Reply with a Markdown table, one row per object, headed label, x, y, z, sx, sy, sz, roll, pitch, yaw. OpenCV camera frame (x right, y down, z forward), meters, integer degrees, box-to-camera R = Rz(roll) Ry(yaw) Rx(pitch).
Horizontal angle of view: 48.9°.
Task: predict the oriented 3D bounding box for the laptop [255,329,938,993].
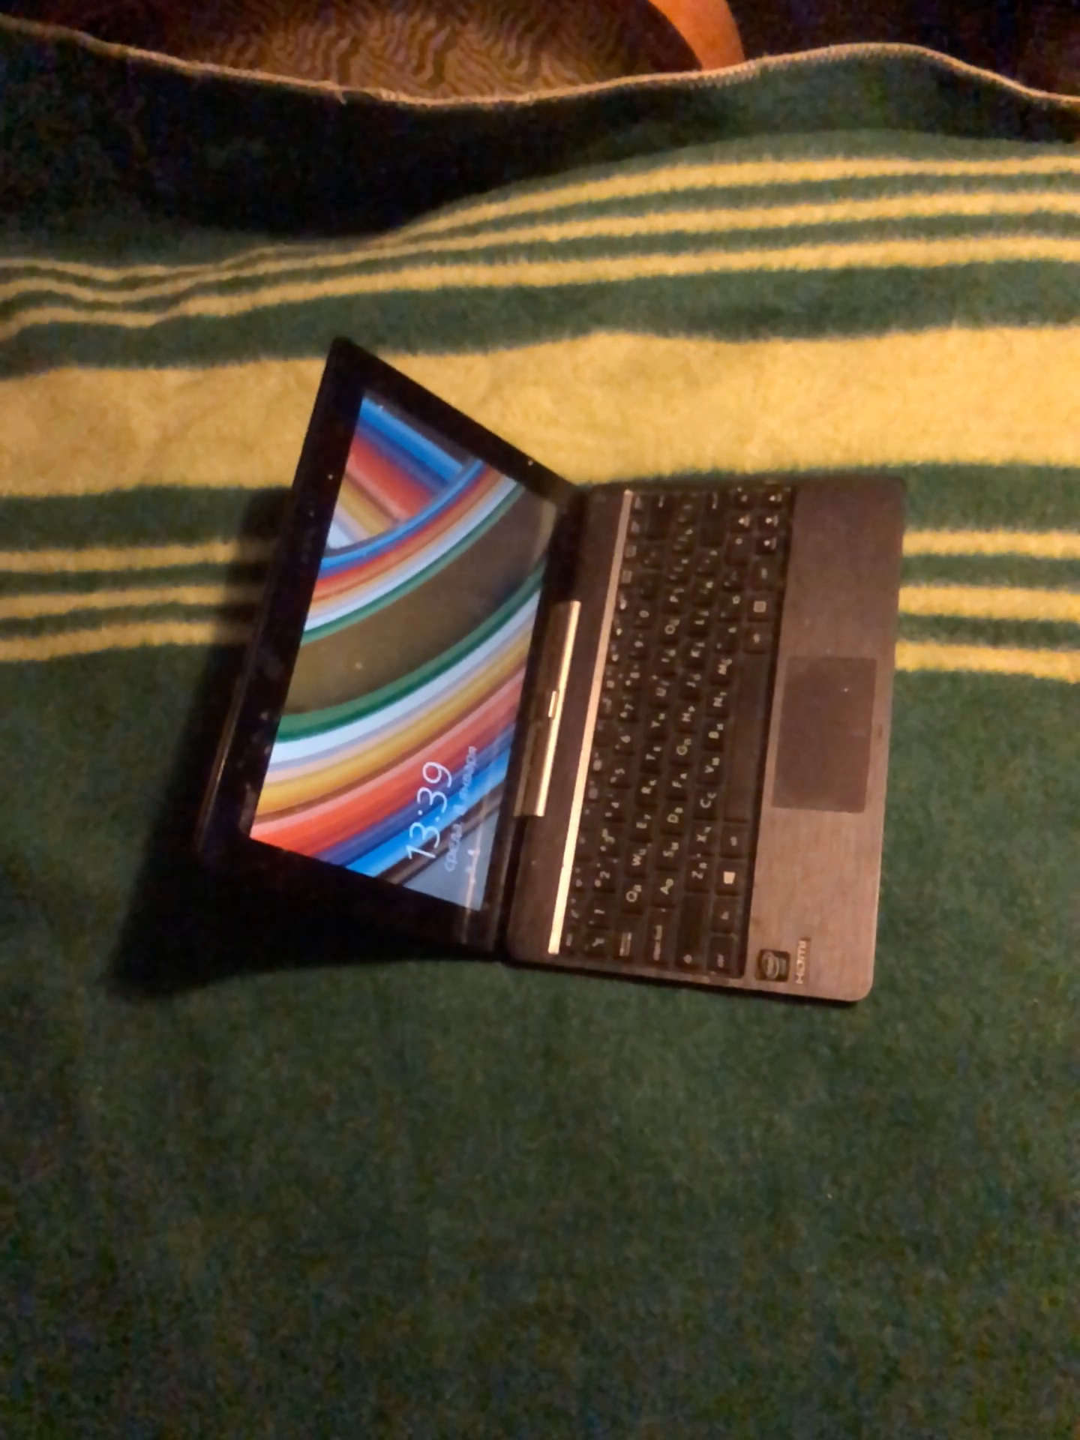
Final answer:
| label | x | y | z | sx | sy | sz | roll | pitch | yaw |
| --- | --- | --- | --- | --- | --- | --- | --- | --- | --- |
| laptop | 0.032 | -0.029 | 0.548 | 0.257 | 0.116 | 0.257 | 3 | 69 | 17 |
